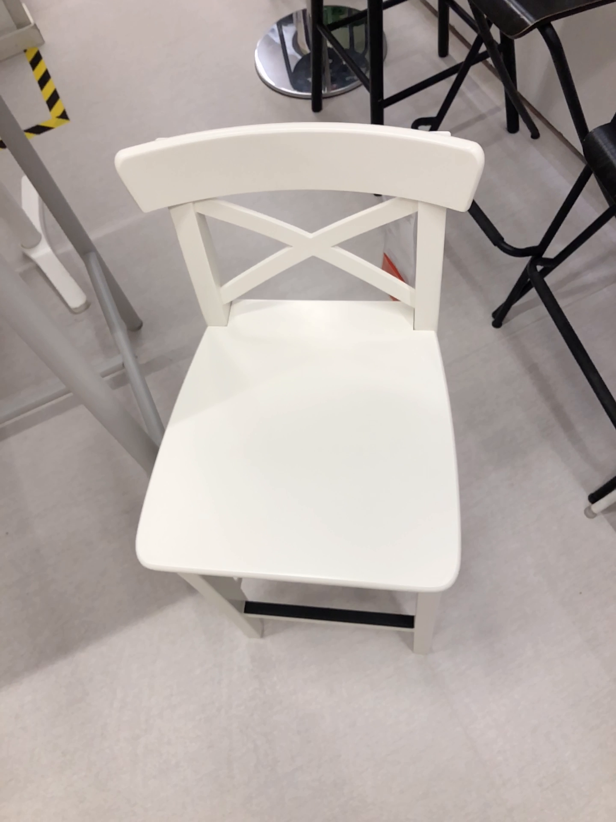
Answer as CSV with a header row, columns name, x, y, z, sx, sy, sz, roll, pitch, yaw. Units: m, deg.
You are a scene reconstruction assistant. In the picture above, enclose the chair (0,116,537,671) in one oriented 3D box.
name,x,y,z,sx,sy,sz,roll,pitch,yaw
chair,0.022,0.084,0.956,0.420,0.837,0.421,3,65,9
